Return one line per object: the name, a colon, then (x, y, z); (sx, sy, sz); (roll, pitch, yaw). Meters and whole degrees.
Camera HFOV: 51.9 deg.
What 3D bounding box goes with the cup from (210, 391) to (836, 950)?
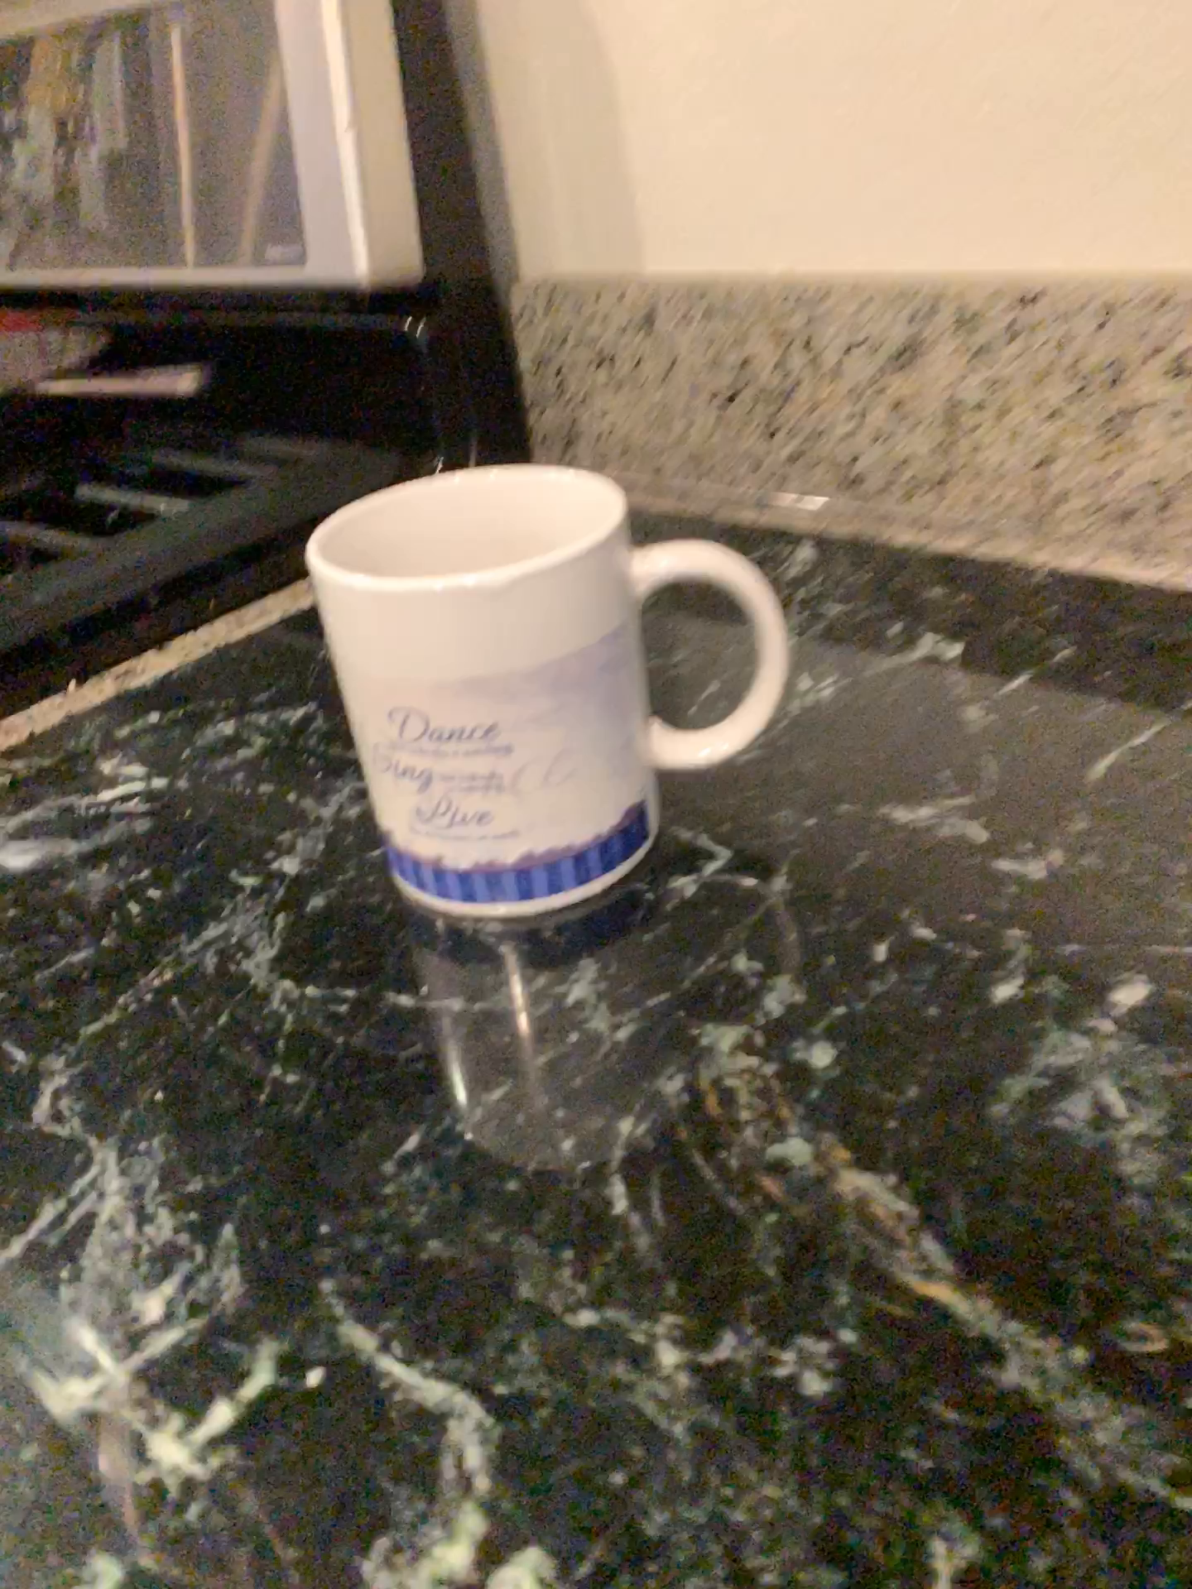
cup: (-0.013, -0.035, 0.321); (0.130, 0.099, 0.091); (-8, 31, 1)
